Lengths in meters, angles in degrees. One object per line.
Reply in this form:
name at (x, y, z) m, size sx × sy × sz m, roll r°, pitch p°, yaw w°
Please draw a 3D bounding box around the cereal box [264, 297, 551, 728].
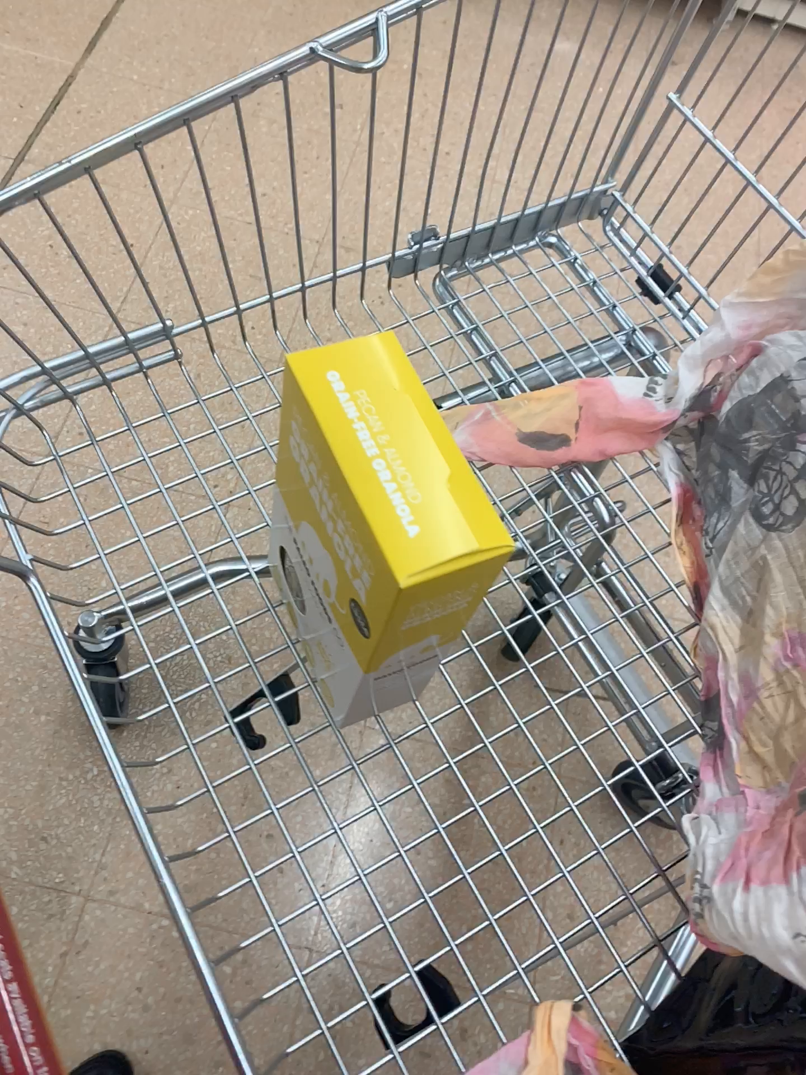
cereal box at (-0.016, 0.002, 0.431) m, size 0.060 × 0.209 × 0.131 m, roll -18°, pitch 68°, yaw -21°
